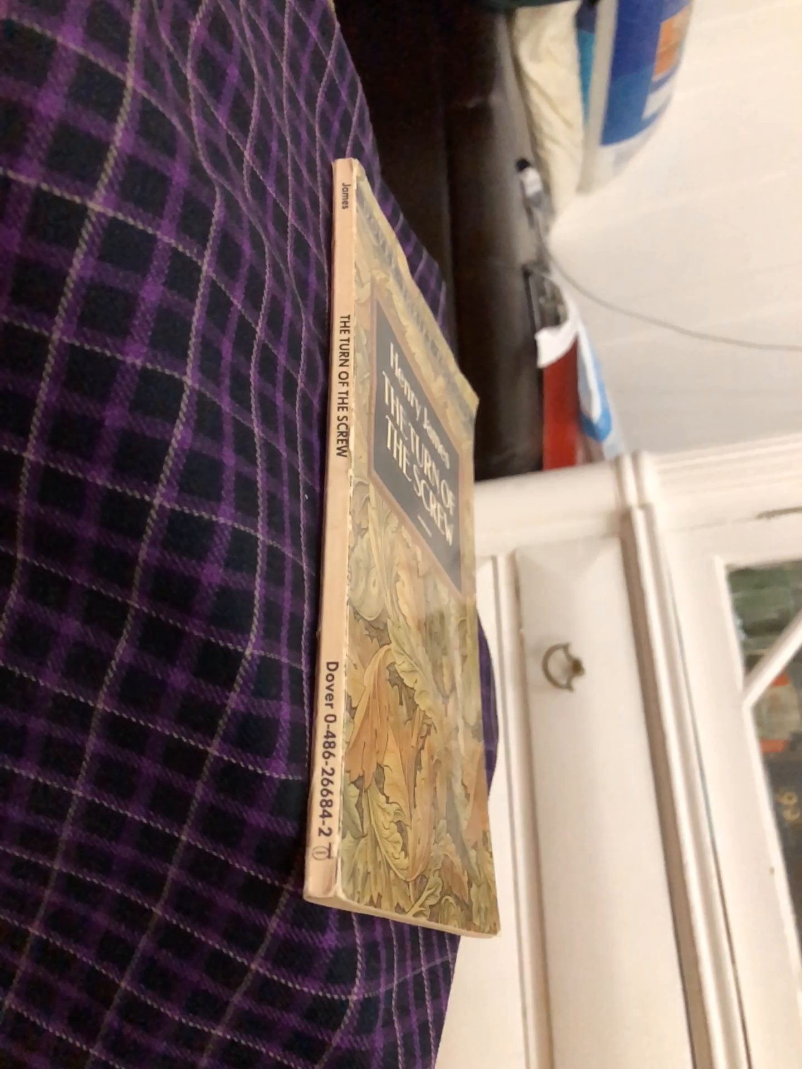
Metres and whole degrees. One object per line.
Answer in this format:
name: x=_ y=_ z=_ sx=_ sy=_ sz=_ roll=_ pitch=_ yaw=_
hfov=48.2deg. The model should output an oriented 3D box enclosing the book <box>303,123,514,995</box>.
book: x=0.006 y=0.012 z=0.267 sx=0.140 sy=0.010 sz=0.220 roll=54 pitch=31 yaw=-59
